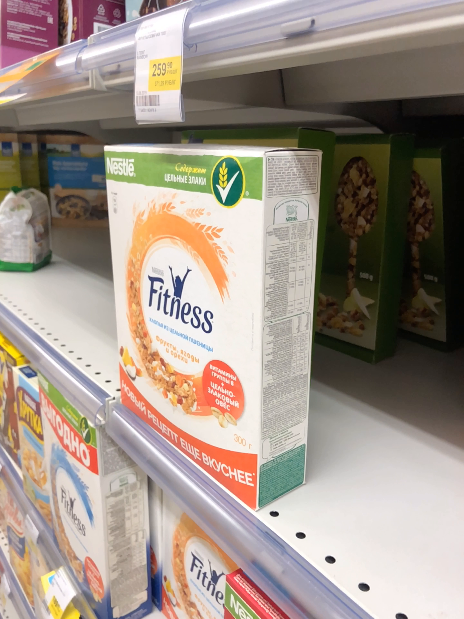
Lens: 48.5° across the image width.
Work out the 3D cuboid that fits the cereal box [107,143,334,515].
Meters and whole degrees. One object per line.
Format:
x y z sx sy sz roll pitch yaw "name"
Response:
-0.020 -0.004 0.387 0.050 0.229 0.190 -14 22 -36 "cereal box"
